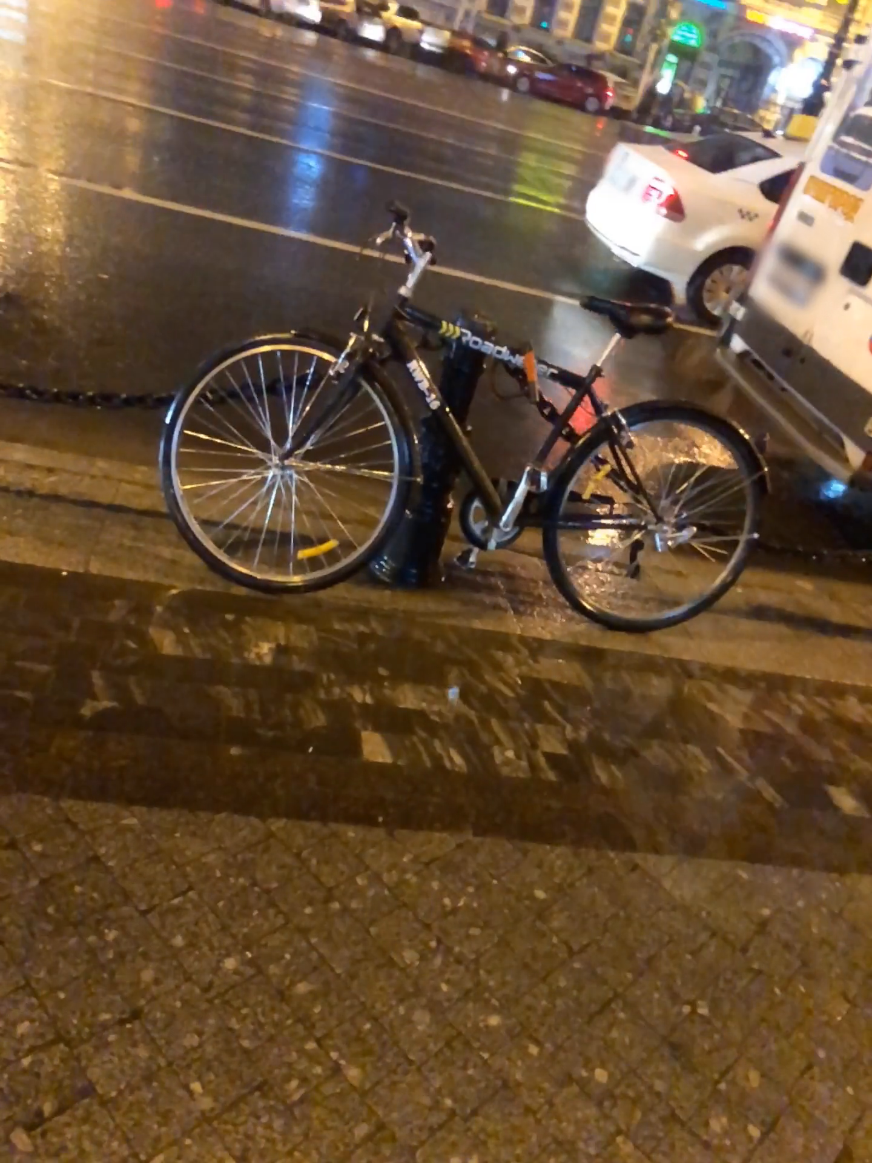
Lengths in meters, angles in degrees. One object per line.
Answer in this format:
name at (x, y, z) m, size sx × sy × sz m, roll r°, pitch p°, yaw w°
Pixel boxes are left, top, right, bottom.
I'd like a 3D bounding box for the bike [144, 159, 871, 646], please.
bike at (0.155, -0.483, 2.736) m, size 1.748 × 0.961 × 0.556 m, roll 9°, pitch 28°, yaw -10°
